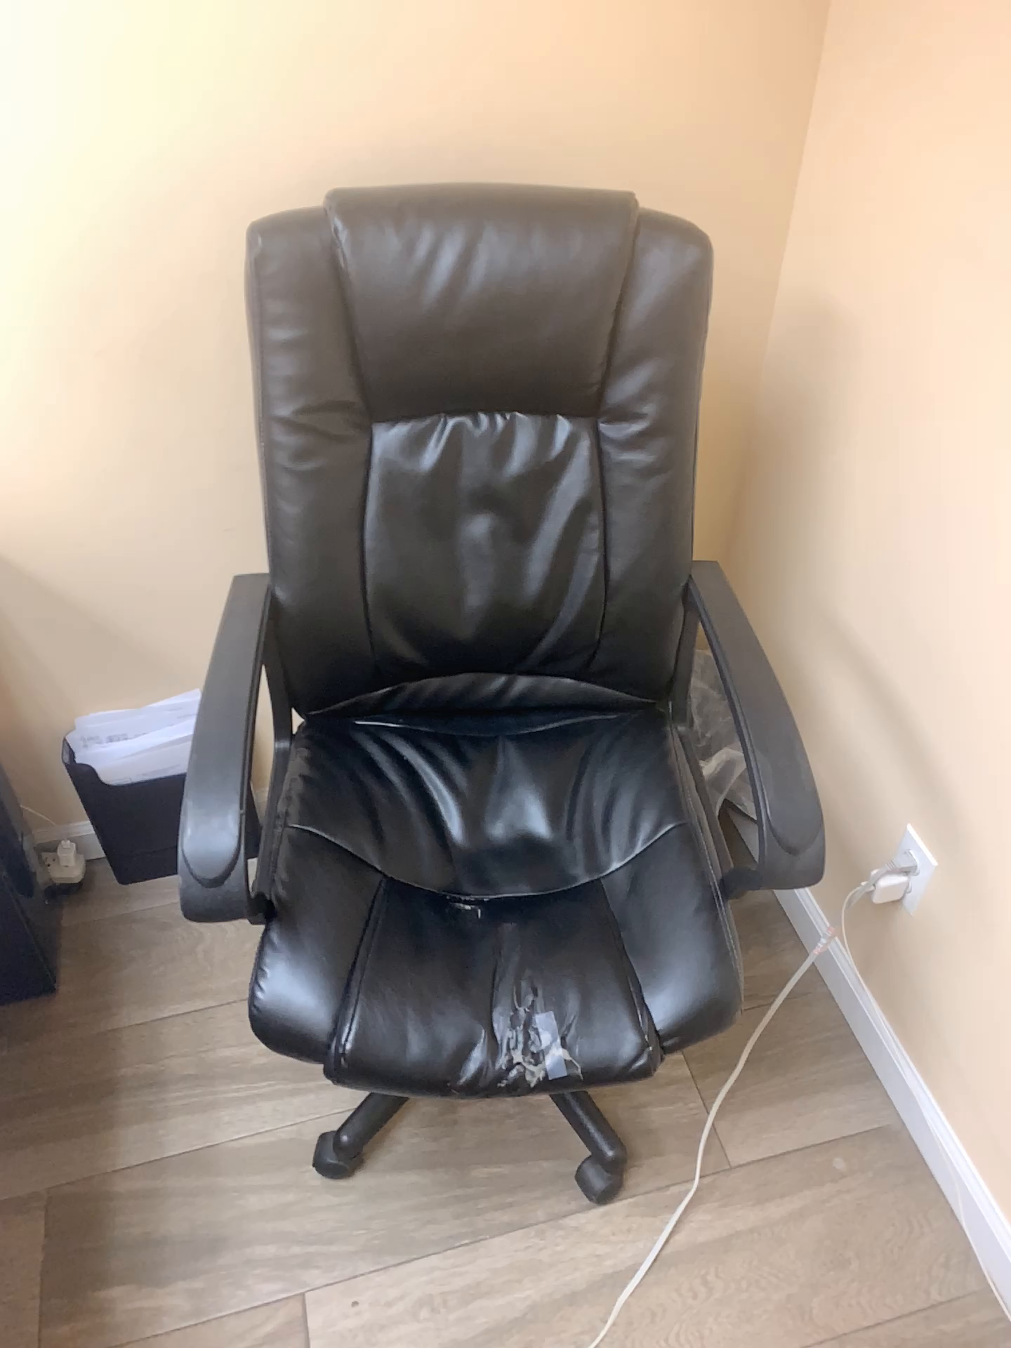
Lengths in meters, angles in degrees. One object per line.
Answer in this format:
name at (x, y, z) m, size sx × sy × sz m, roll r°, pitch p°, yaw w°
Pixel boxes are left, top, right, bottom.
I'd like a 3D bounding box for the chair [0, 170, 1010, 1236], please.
chair at (0.003, 0.090, 1.187) m, size 0.648 × 1.083 × 0.630 m, roll 0°, pitch 40°, yaw -2°
